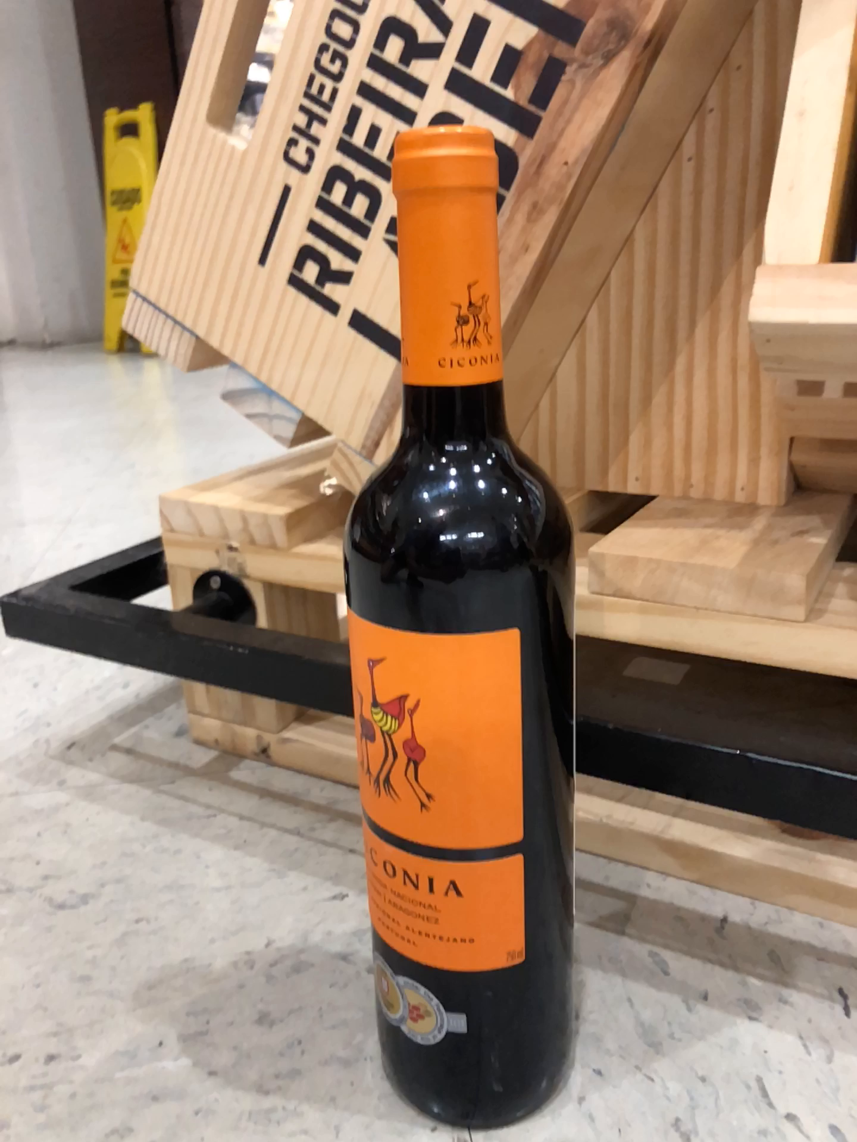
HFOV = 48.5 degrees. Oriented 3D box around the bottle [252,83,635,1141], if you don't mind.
[{"bbox_3d":[0.009,0.025,0.313,0.080,0.318,0.070,15,25,43],"label":"bottle"}]
